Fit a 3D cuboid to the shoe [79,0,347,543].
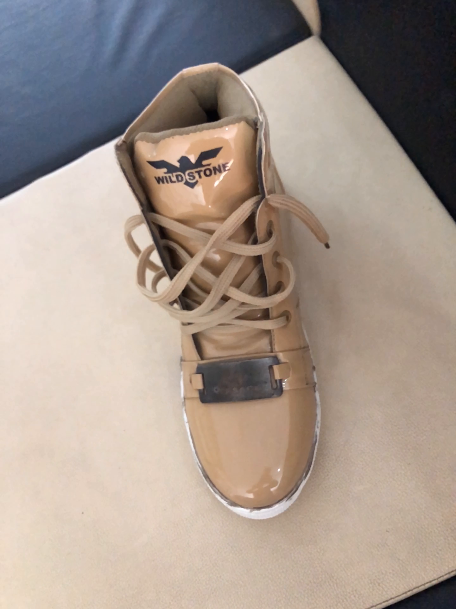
[{"bbox_3d":[-0.002,-0.013,0.320,0.100,0.160,0.280,-9,67,12],"label":"shoe"}]
